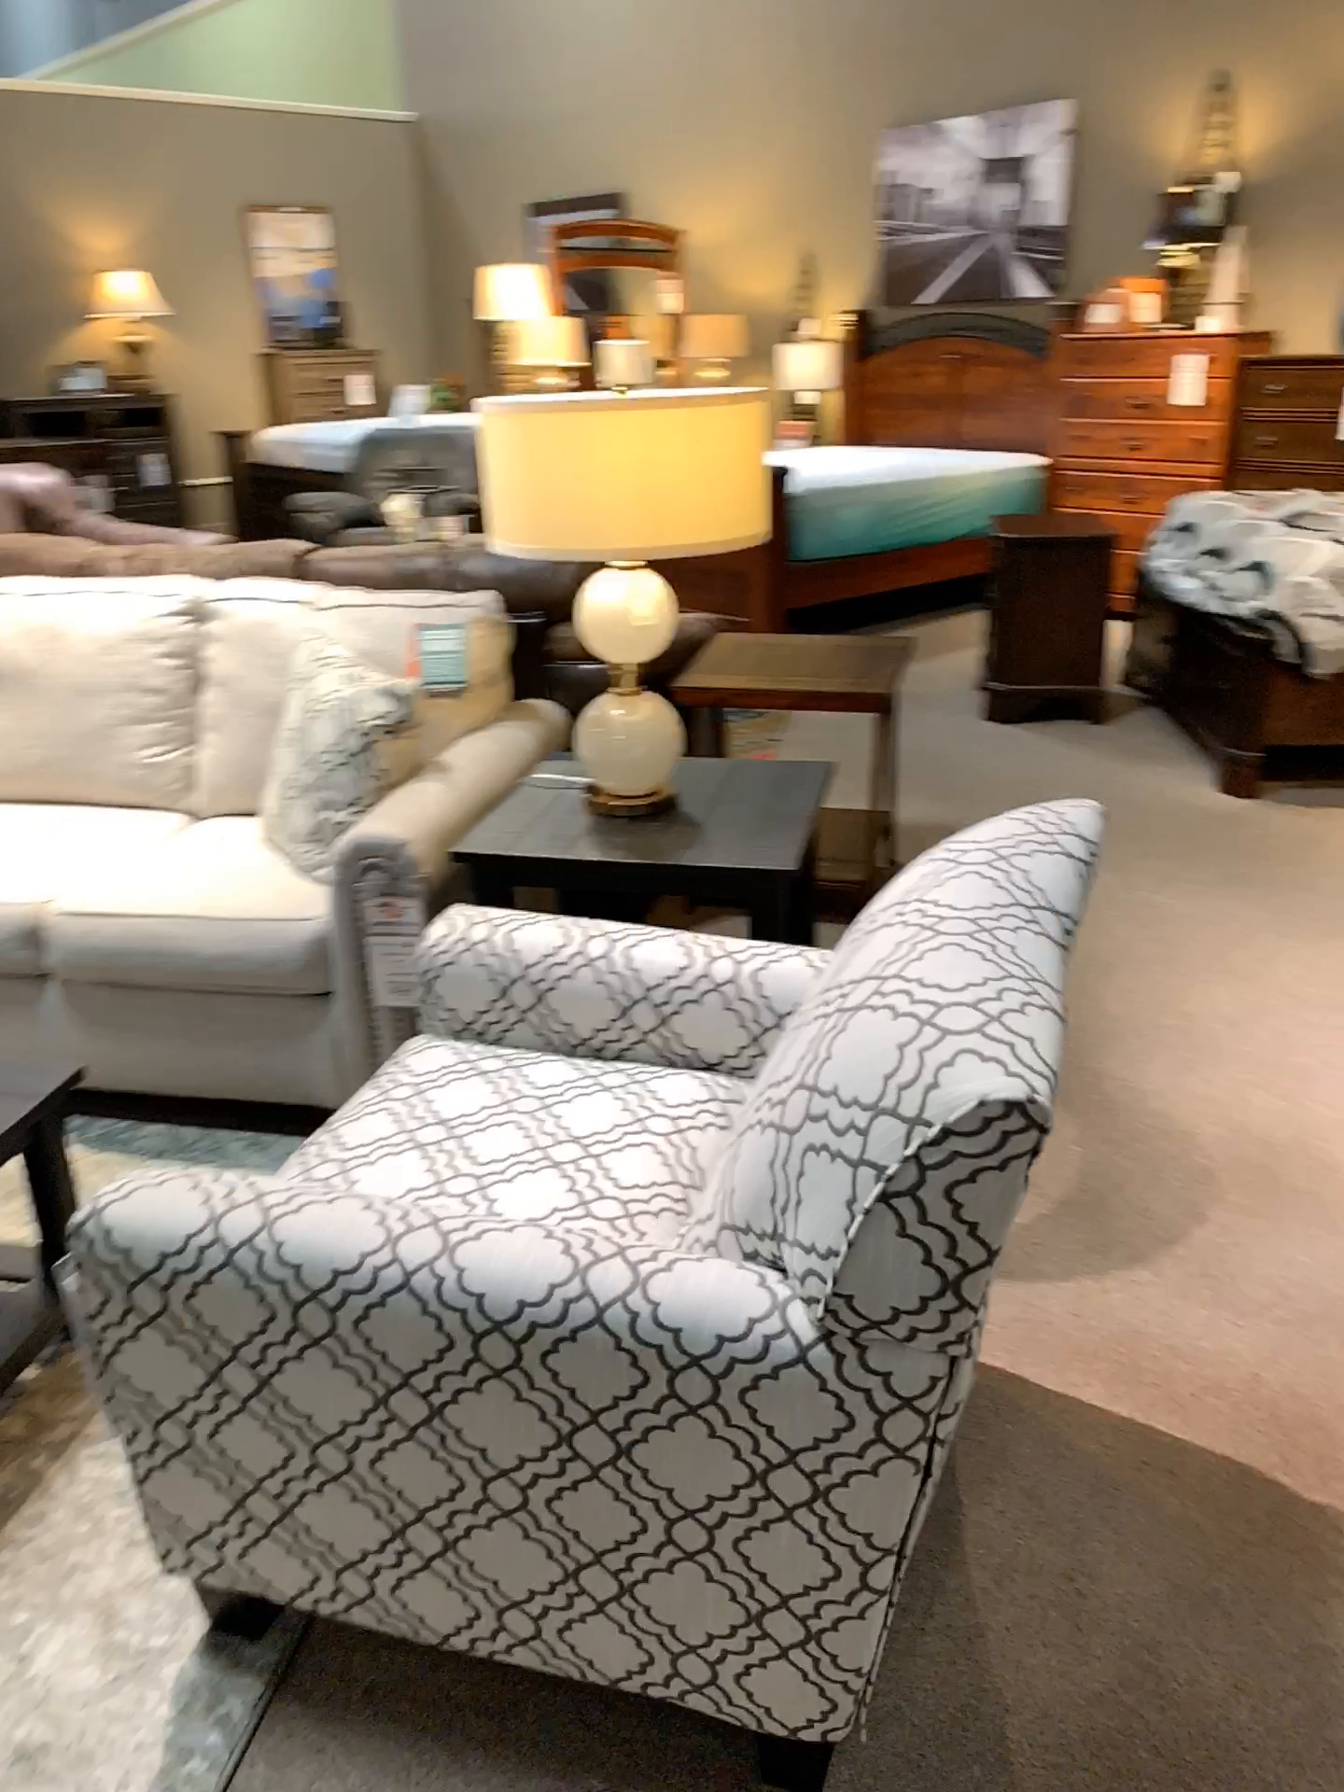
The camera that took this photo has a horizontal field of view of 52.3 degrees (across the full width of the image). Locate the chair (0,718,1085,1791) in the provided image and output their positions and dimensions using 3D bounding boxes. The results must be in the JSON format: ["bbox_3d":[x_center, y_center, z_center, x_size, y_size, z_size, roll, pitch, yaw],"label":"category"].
[{"bbox_3d":[-0.078,0.345,1.592,0.965,0.847,0.877,6,23,17],"label":"chair"}]
